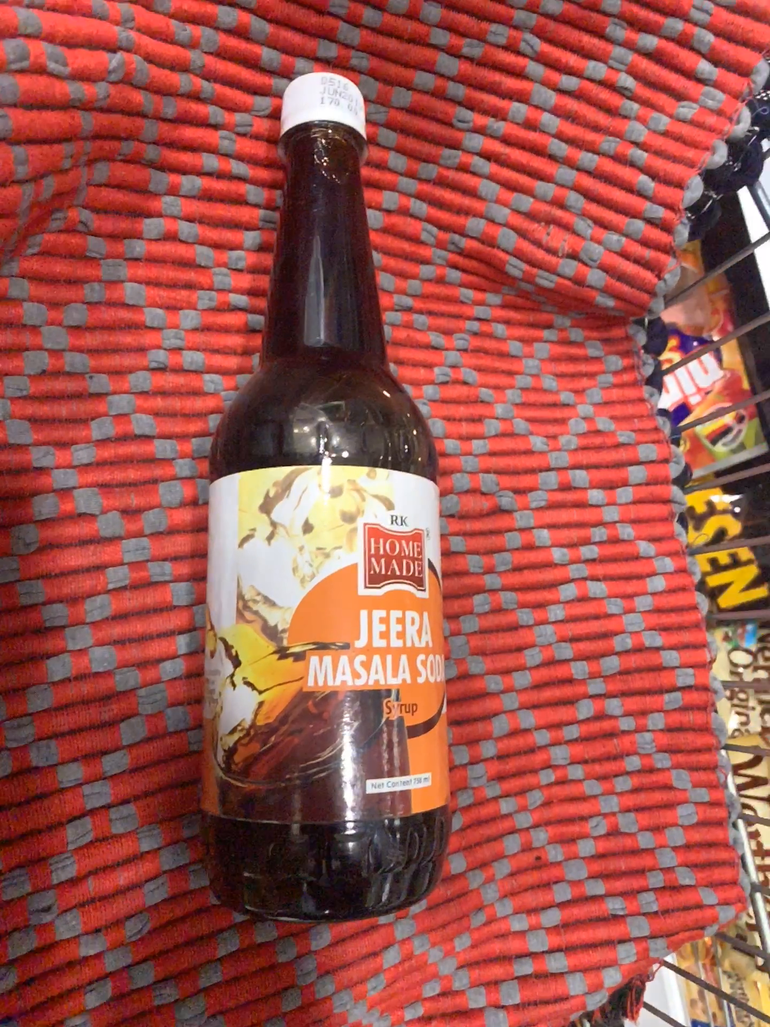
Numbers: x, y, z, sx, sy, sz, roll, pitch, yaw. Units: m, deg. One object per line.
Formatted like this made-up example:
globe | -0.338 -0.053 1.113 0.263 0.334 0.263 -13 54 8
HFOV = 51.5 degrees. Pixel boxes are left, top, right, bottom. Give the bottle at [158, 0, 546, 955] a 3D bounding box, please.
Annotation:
bottle | -0.015 -0.022 0.249 0.080 0.070 0.260 9 72 -38
